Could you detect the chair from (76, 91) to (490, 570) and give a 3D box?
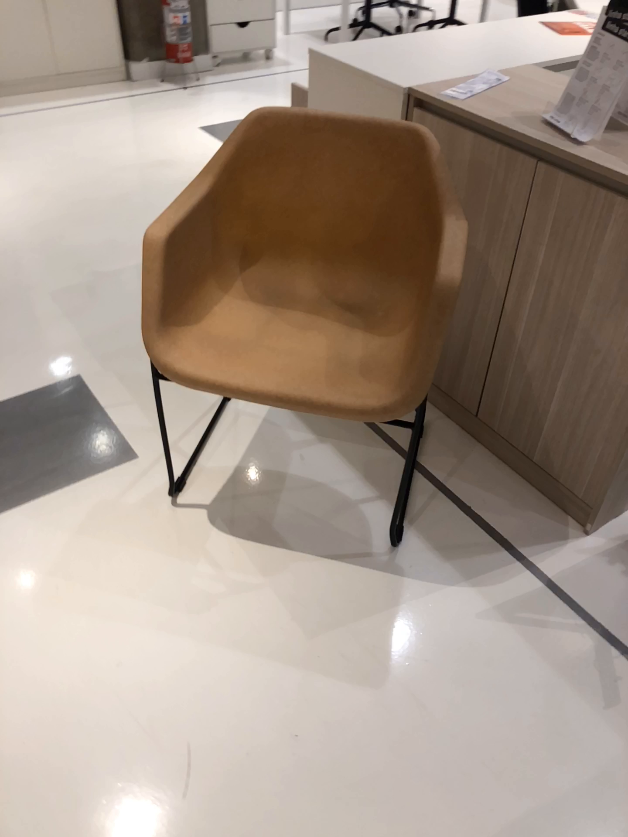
[{"bbox_3d":[-0.012,-0.193,1.422,0.590,0.704,0.574,10,41,9],"label":"chair"}]
